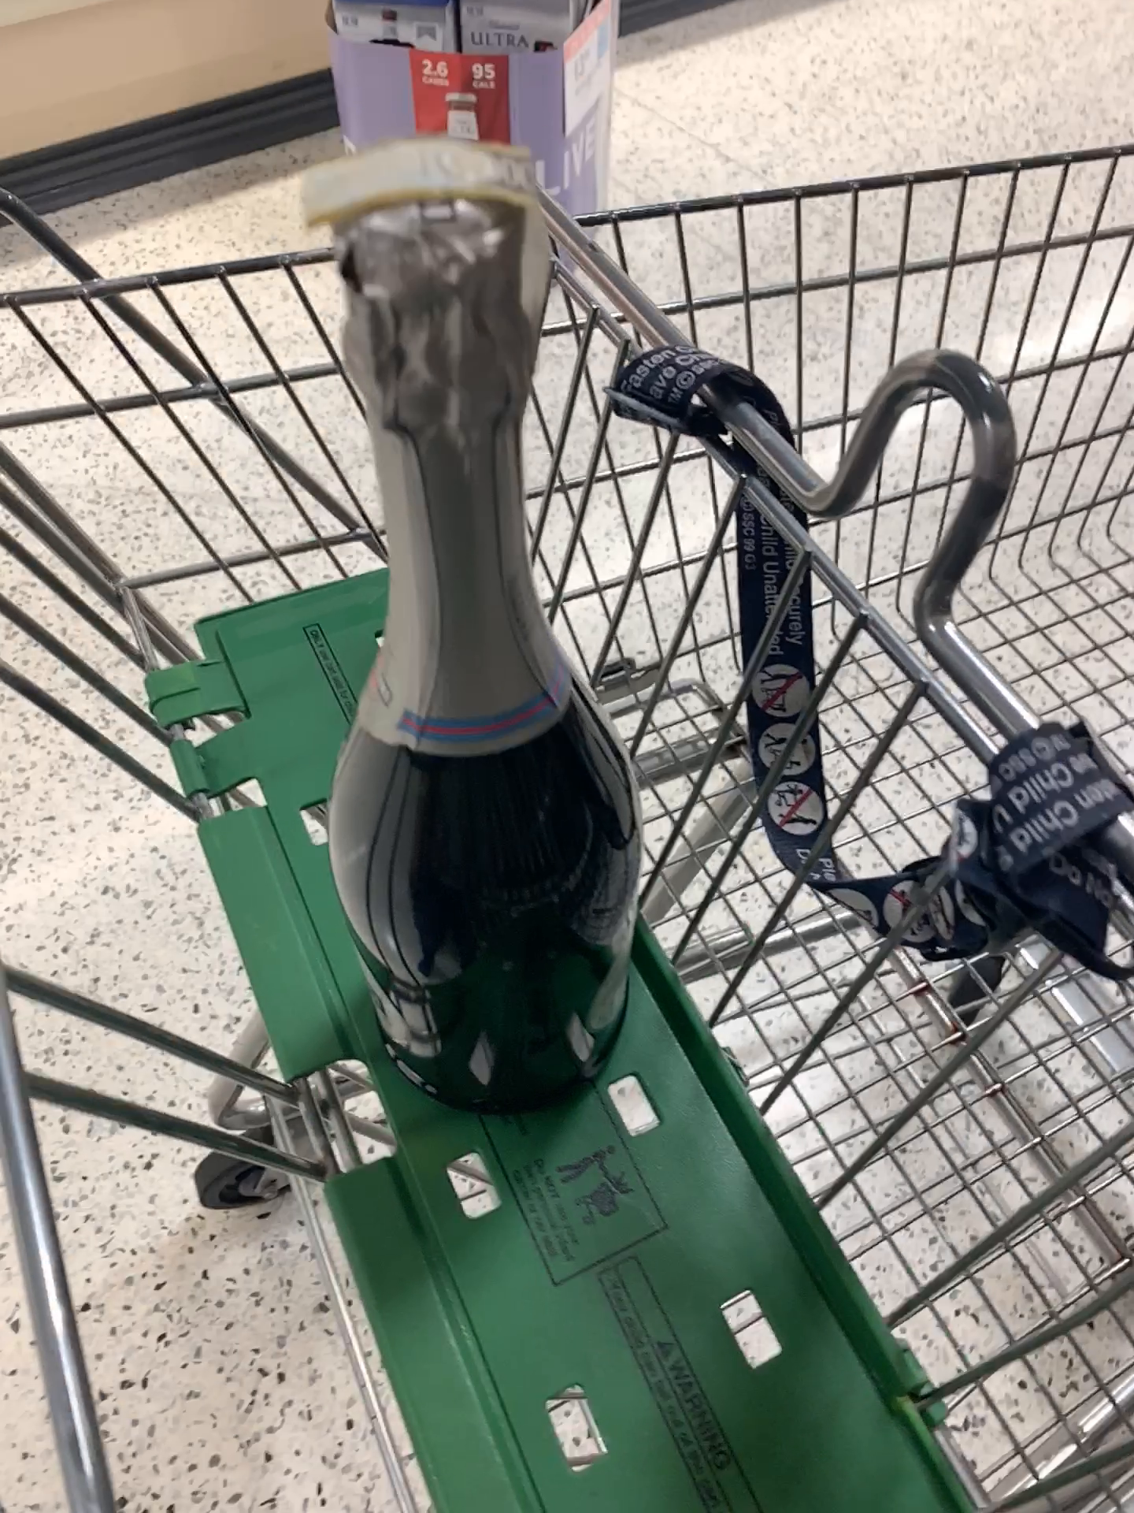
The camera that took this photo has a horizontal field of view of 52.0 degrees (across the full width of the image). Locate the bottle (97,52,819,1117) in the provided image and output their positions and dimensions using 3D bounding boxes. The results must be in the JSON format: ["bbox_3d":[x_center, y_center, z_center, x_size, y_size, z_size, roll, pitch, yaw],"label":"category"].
[{"bbox_3d":[-0.017,-0.007,0.306,0.100,0.287,0.101,0,52,-1],"label":"bottle"}]
